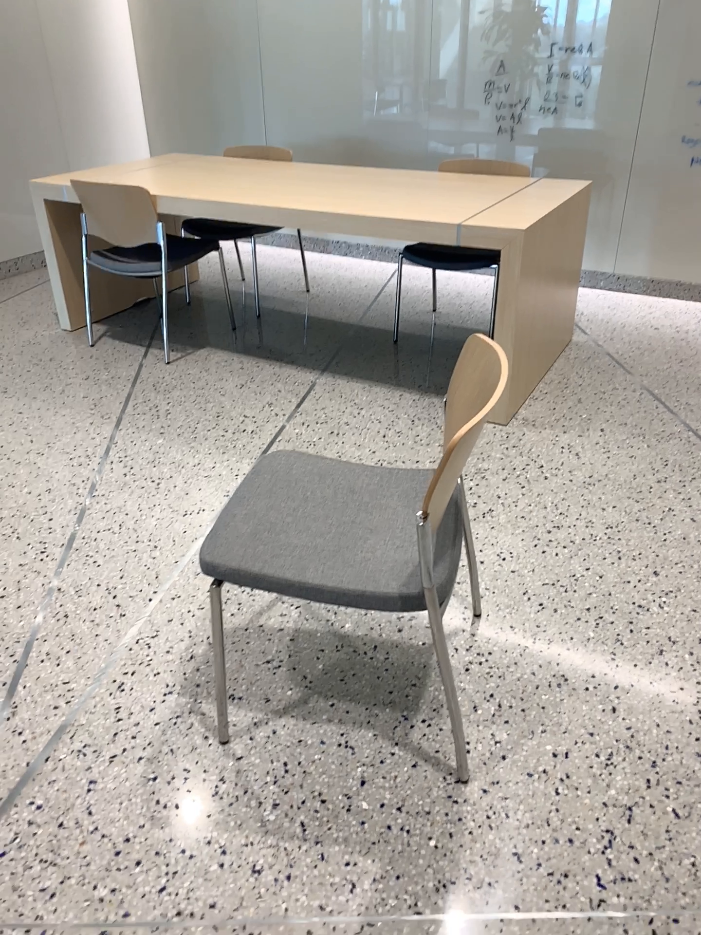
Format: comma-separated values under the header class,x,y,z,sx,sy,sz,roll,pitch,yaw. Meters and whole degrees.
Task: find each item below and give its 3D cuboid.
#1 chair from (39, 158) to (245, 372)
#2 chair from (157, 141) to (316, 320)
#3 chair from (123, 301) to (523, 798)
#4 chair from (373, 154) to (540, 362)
class,x,y,z,sx,sy,sz,roll,pitch,yaw
chair,-0.918,-0.954,3.292,0.548,0.769,0.595,15,34,25
chair,-0.575,-1.293,3.848,0.548,0.769,0.595,12,33,21
chair,0.001,0.135,1.474,0.591,0.769,0.541,7,31,13
chair,0.477,-0.982,3.271,0.538,0.749,0.595,15,33,25
